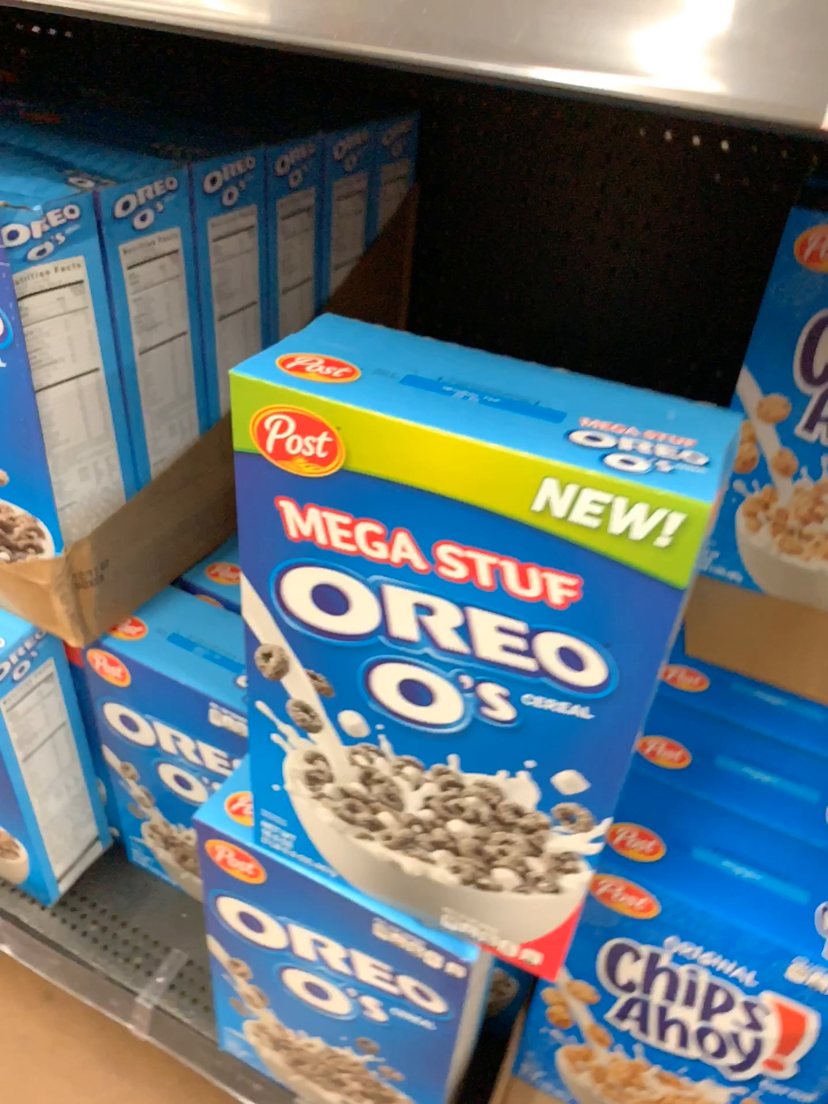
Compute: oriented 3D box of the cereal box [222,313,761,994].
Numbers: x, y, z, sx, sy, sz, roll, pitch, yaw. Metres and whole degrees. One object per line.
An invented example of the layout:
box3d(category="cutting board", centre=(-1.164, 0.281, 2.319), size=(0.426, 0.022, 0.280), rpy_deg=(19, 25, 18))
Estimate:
box3d(category="cereal box", centre=(0.019, 0.060, 0.426), size=(0.200, 0.298, 0.080), rpy_deg=(17, 36, 16))
